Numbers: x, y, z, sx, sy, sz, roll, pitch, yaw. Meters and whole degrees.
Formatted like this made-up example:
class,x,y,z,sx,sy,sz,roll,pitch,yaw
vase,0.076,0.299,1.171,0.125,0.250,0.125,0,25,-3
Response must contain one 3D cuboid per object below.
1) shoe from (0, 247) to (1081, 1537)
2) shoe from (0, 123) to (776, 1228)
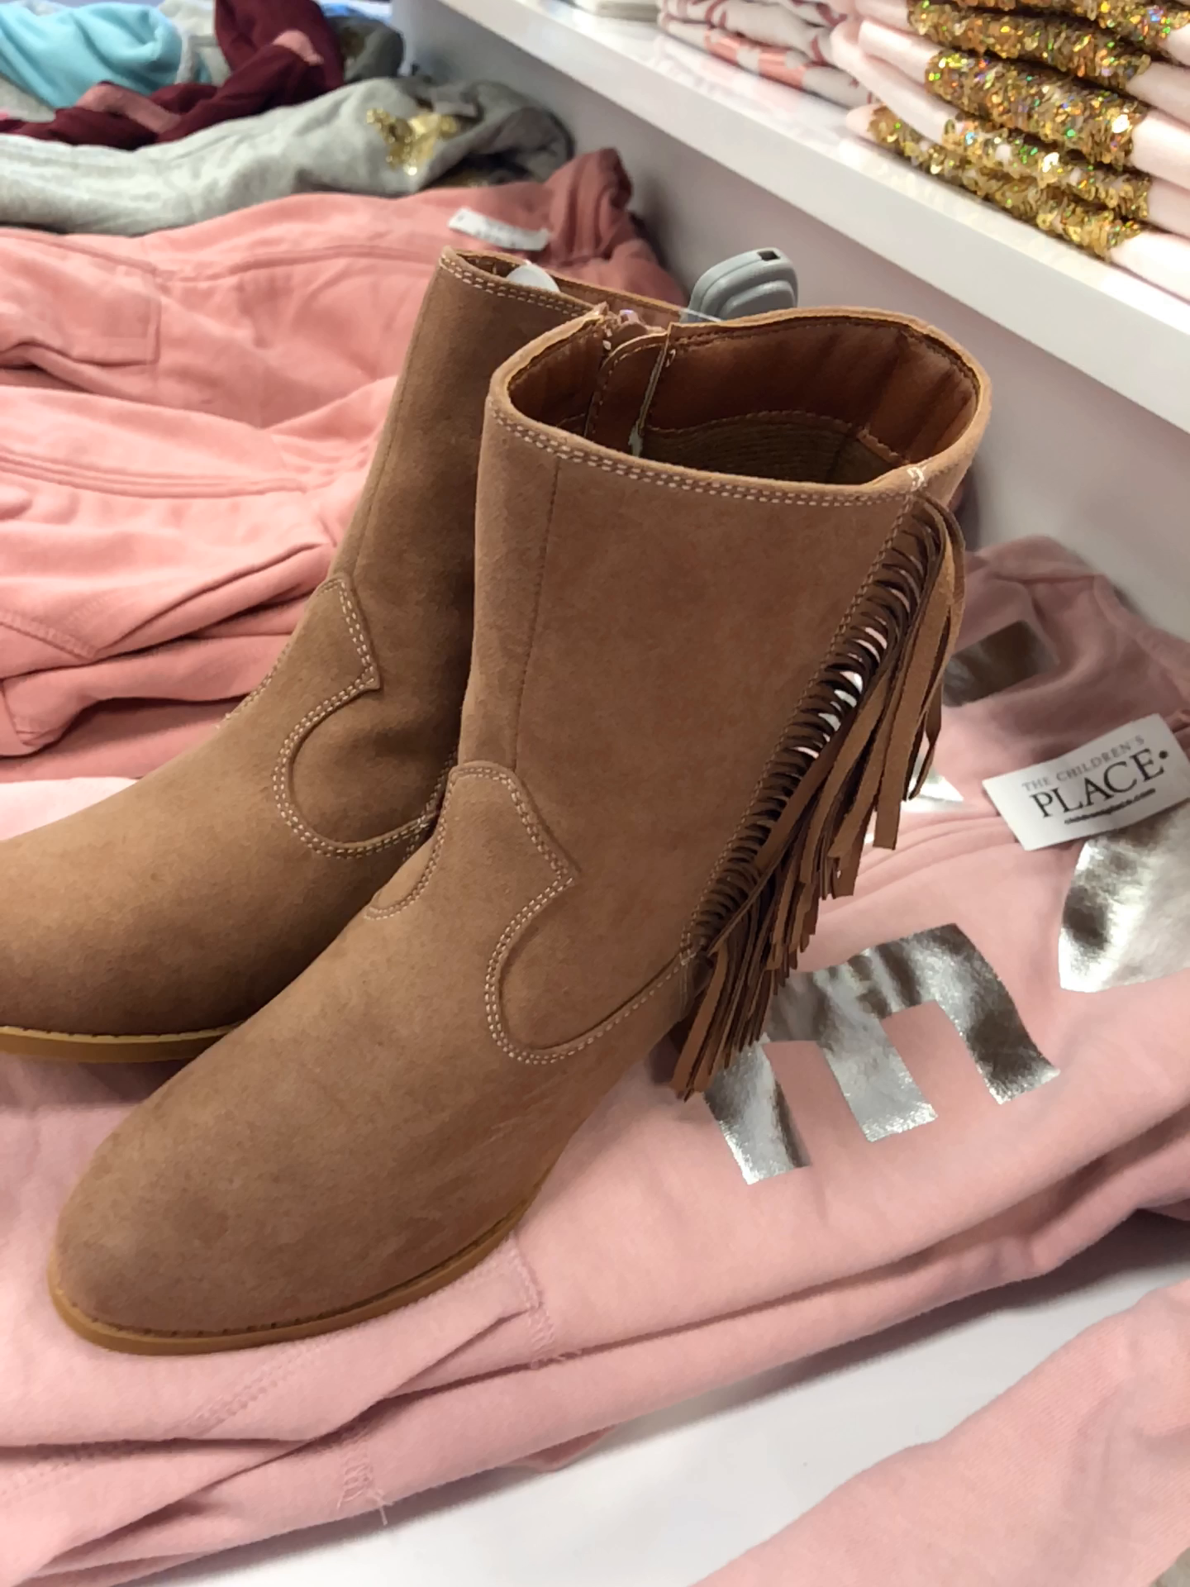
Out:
class,x,y,z,sx,sy,sz,roll,pitch,yaw
shoe,-0.022,0.006,0.287,0.210,0.199,0.092,-24,47,-37
shoe,-0.079,-0.036,0.329,0.200,0.199,0.092,-18,43,-42
